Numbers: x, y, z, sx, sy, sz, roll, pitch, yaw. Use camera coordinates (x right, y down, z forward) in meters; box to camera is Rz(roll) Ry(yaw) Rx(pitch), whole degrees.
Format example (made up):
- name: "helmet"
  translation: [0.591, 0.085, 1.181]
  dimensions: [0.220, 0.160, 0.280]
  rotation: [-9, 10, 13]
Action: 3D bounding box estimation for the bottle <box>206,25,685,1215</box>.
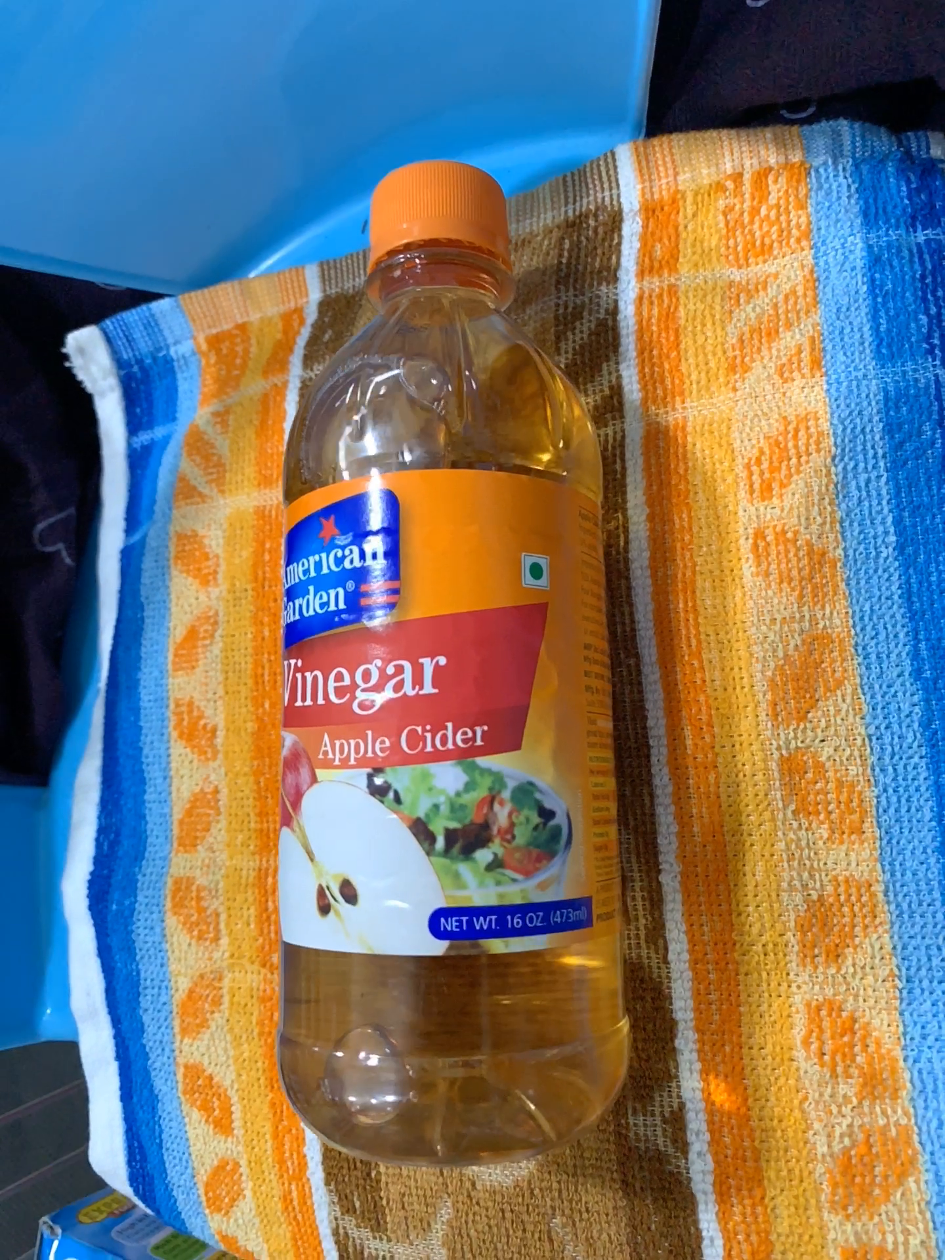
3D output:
- name: "bottle"
  translation: [-0.009, -0.003, 0.189]
  dimensions: [0.070, 0.050, 0.180]
  rotation: [-8, 81, 39]
